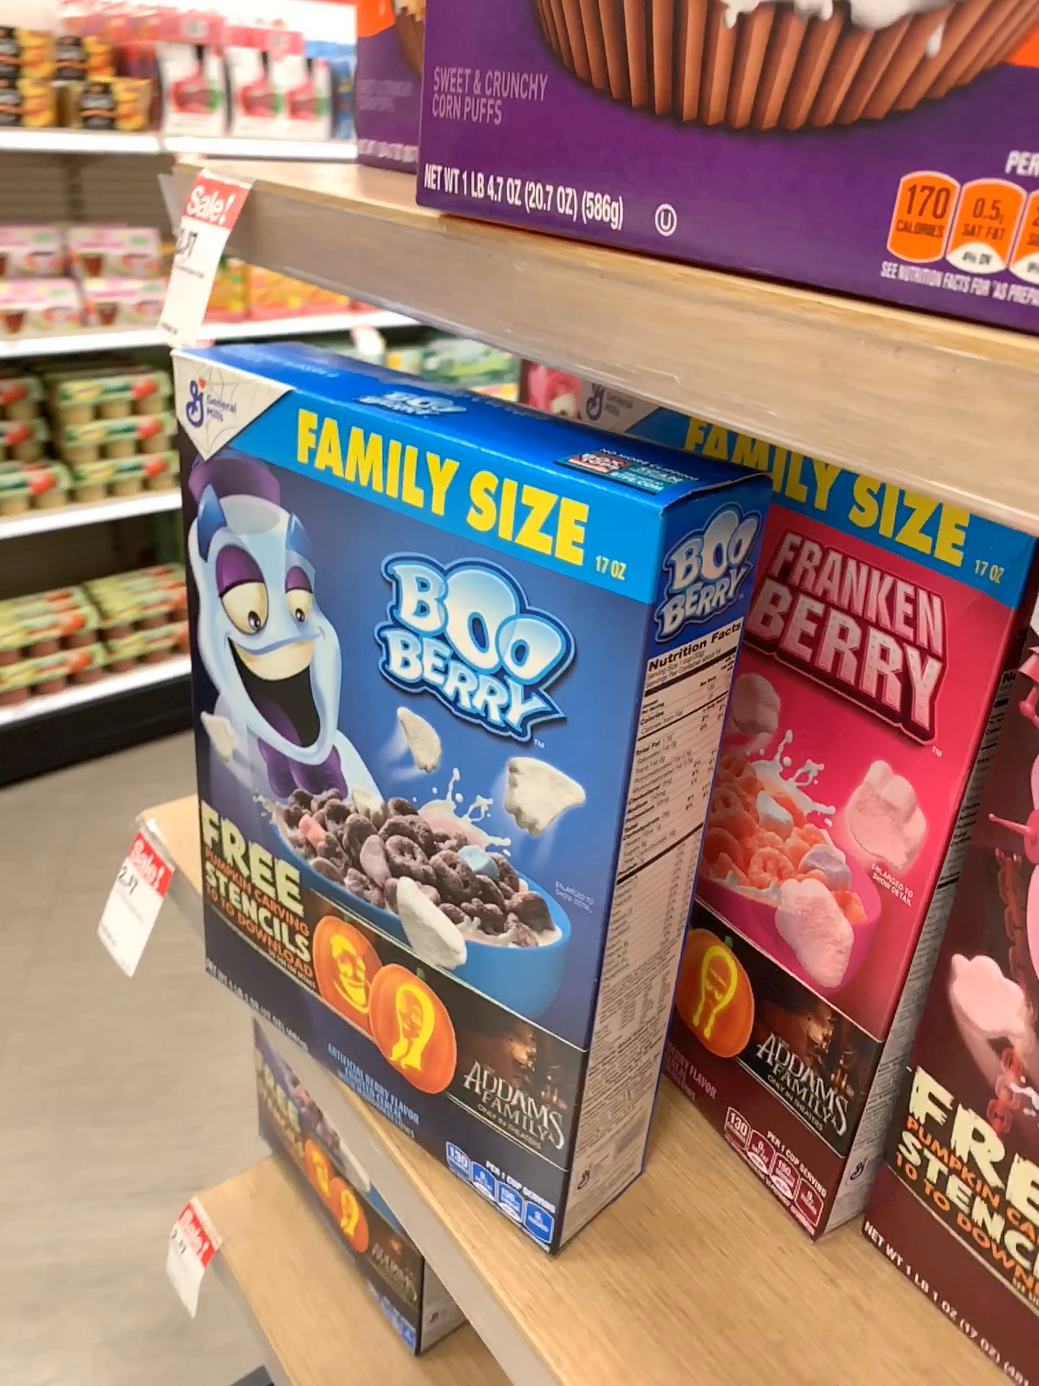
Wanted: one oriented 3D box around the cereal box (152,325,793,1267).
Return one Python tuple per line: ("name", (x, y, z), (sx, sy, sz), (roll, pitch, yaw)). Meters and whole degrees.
("cereal box", (-0.043, 0.034, 0.434), (0.241, 0.308, 0.060), (25, 32, 33))
